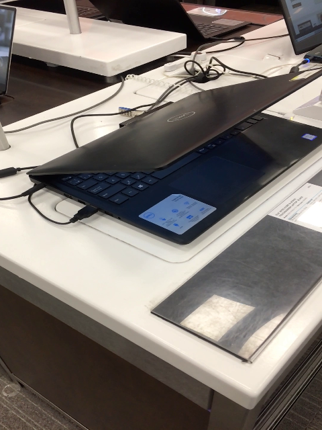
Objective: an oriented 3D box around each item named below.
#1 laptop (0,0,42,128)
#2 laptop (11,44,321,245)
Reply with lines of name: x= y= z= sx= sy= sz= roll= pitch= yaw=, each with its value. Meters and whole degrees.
laptop: x=-0.525 y=-0.354 z=0.933 sx=0.296 sy=0.160 sz=0.305 roll=30 pitch=54 yaw=30
laptop: x=0.053 y=-0.137 z=0.657 sx=0.277 sy=0.107 sz=0.385 roll=31 pitch=52 yaw=30
